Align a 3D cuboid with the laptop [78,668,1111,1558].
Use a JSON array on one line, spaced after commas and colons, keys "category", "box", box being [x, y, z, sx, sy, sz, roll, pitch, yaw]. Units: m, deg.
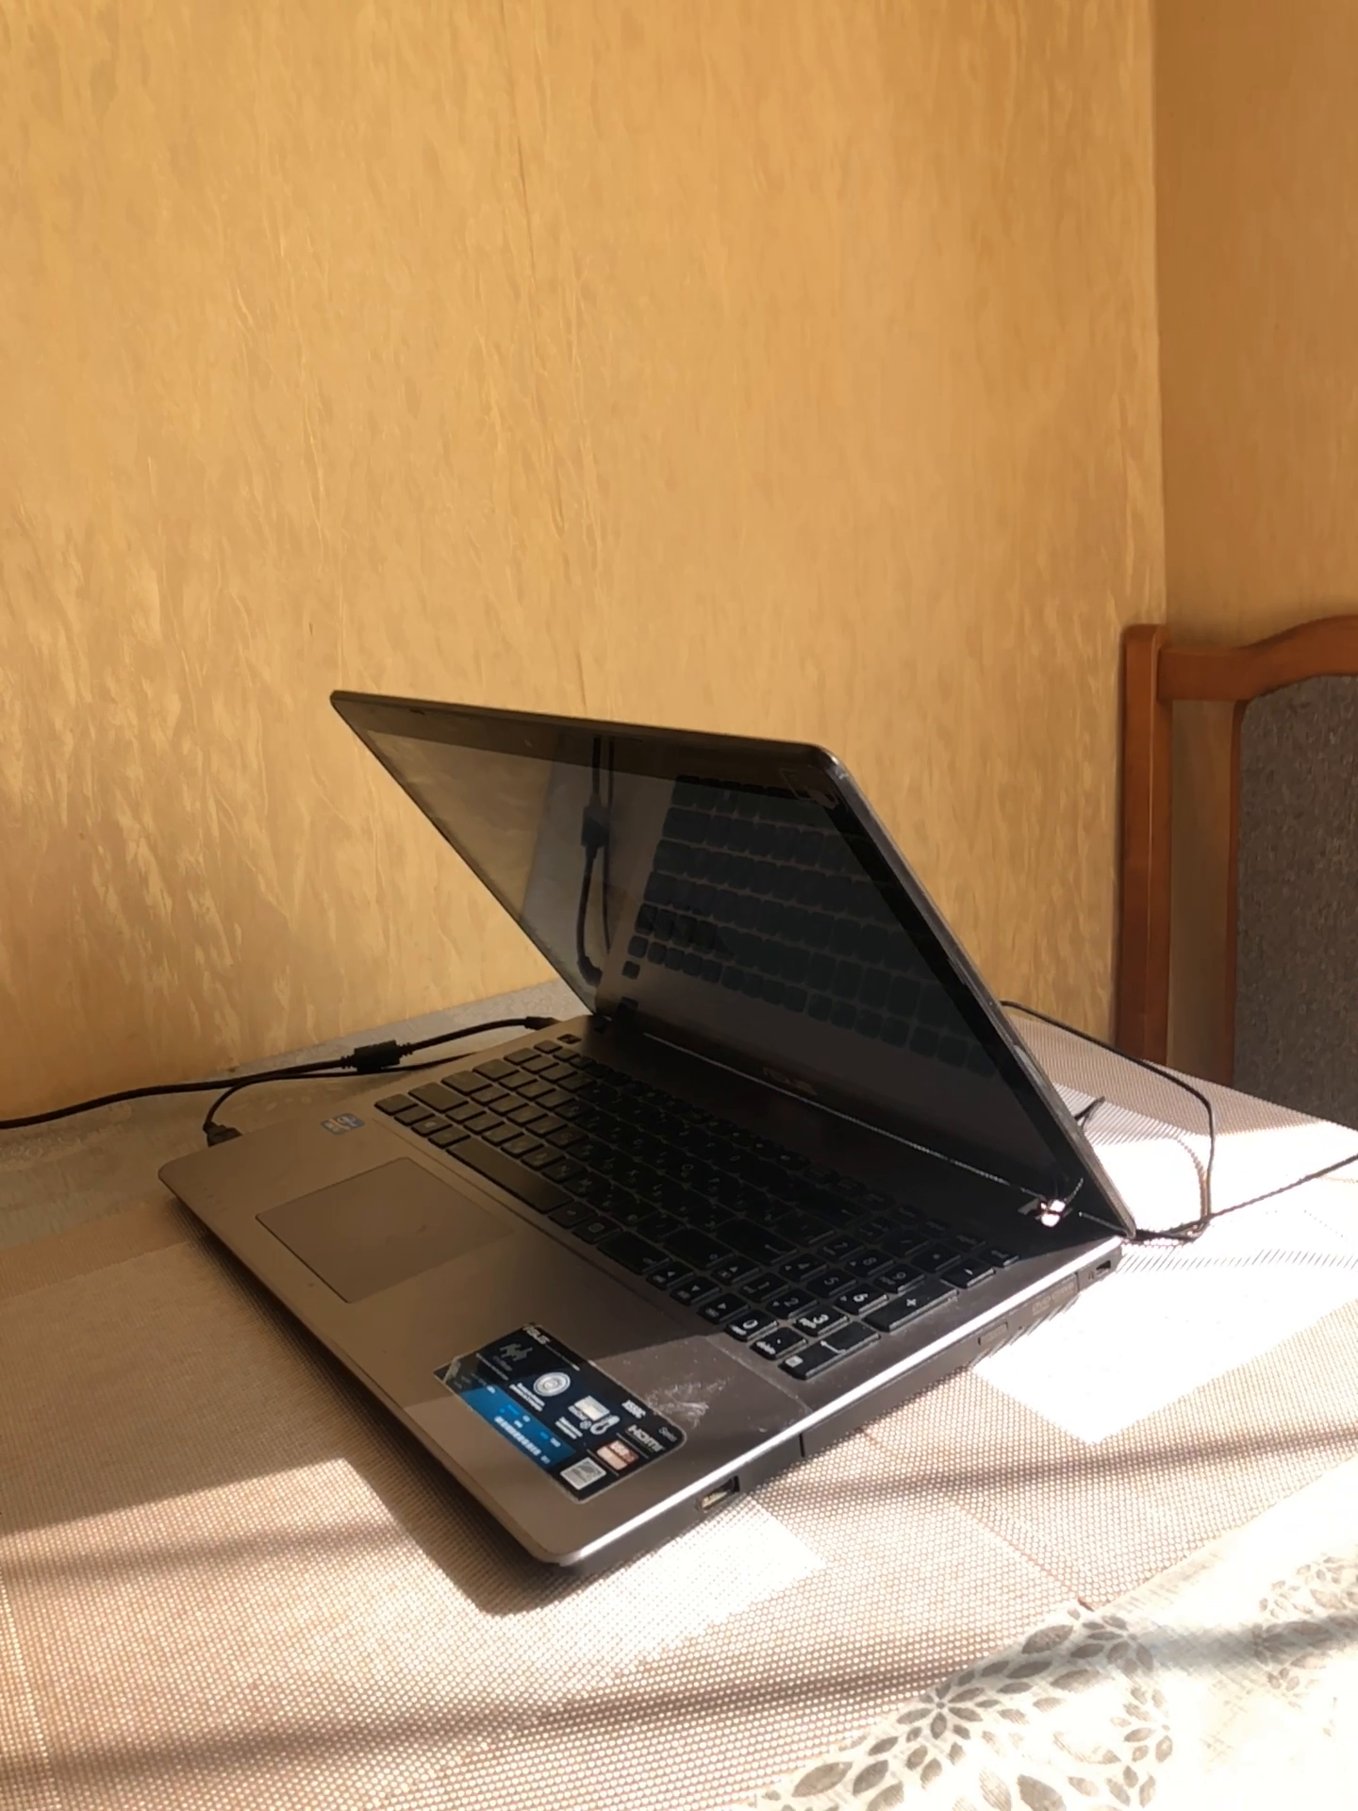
[{"category": "laptop", "box": [-0.056, 0.028, 0.608, 0.242, 0.196, 0.370, -17, 18, -32]}]
